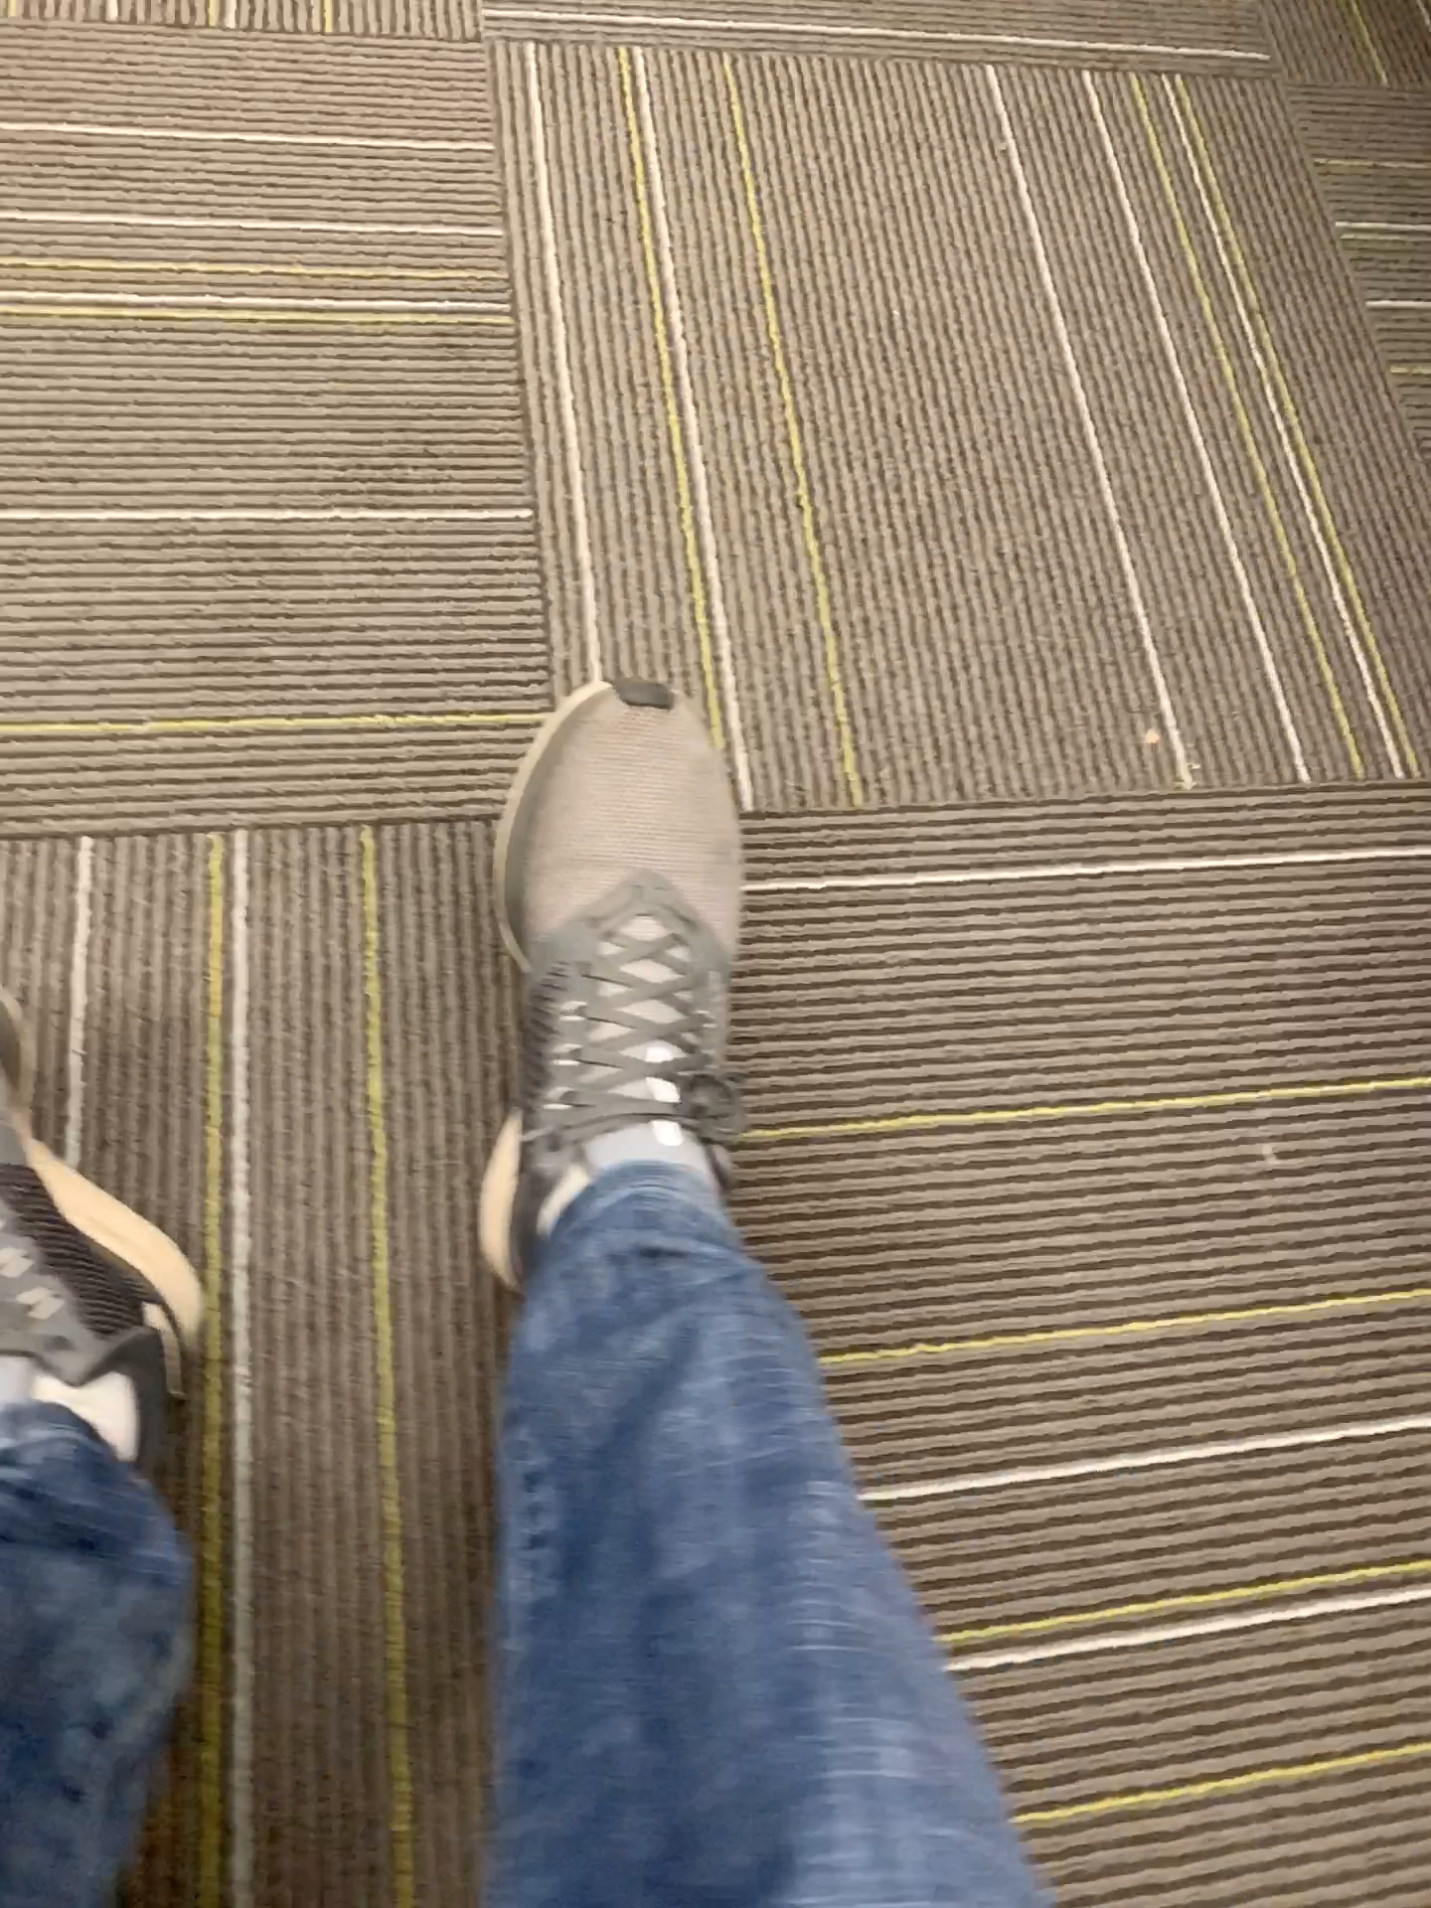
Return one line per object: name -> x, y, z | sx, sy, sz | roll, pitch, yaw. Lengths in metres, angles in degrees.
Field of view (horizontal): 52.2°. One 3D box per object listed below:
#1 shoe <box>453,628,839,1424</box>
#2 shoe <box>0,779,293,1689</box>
shoe -> -0.039, 0.023, 0.598 | 0.119, 0.122, 0.294 | 1, 104, -14
shoe -> -0.271, 0.109, 0.515 | 0.119, 0.293, 0.122 | -23, 38, -9
